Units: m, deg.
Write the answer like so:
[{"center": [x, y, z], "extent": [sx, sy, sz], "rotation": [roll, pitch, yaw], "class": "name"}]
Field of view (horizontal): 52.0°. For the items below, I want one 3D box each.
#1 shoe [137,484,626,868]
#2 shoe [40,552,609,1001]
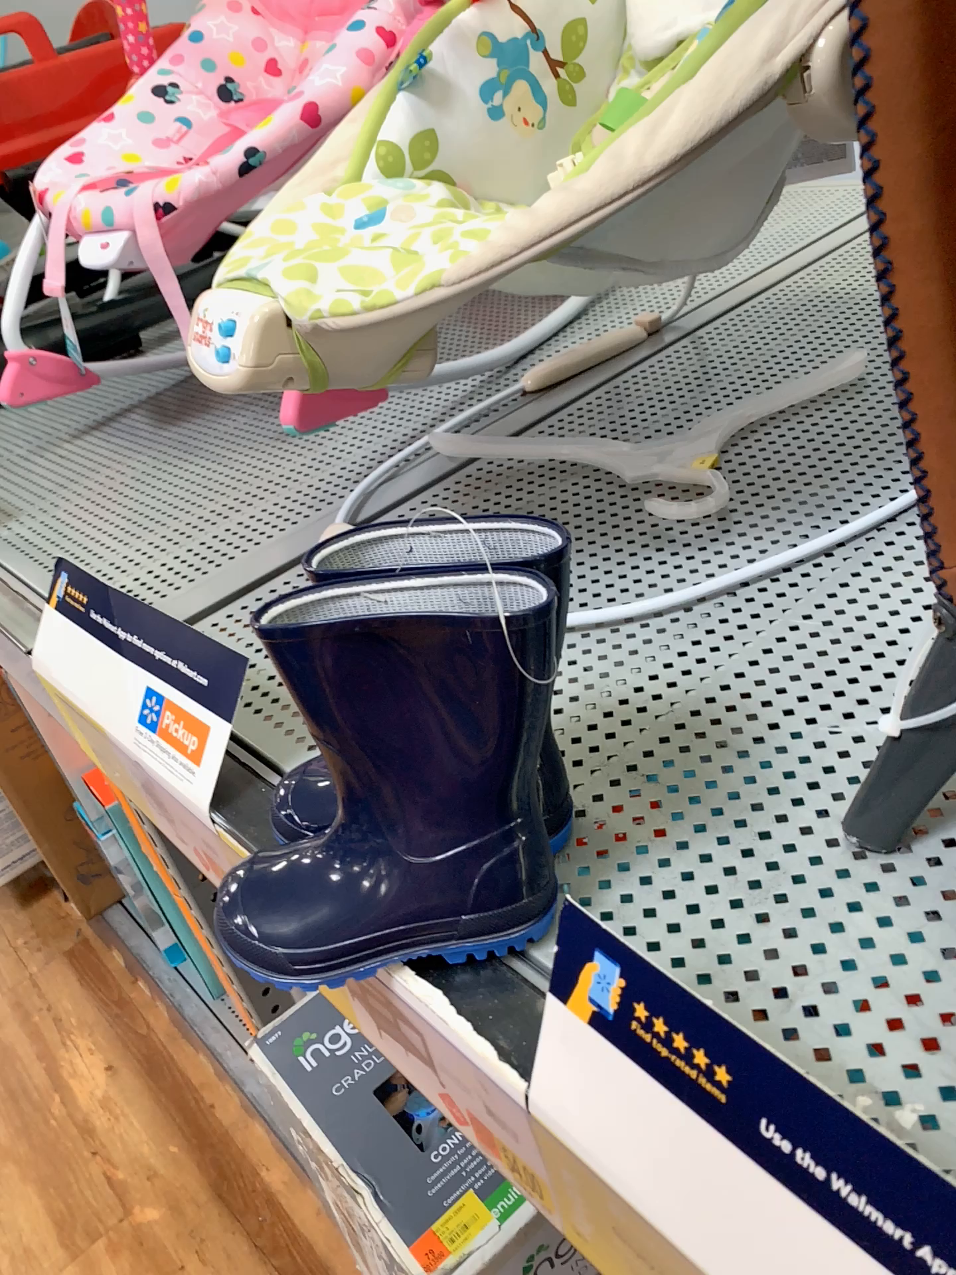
[{"center": [-0.033, 0.022, 0.437], "extent": [0.173, 0.143, 0.075], "rotation": [-4, 30, 16], "class": "shoe"}, {"center": [-0.046, 0.059, 0.383], "extent": [0.174, 0.143, 0.076], "rotation": [-7, 29, 12], "class": "shoe"}]
